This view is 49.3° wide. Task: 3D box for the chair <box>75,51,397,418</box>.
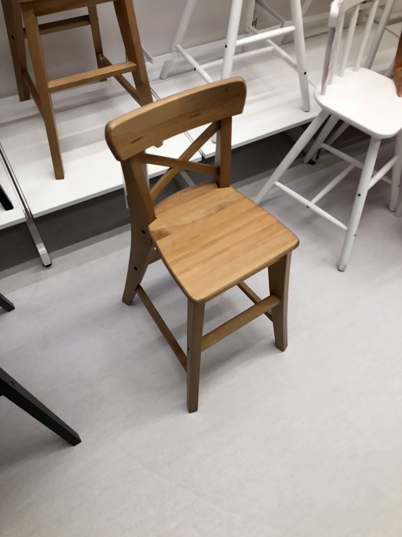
[{"bbox_3d":[0.035,-0.037,1.046,0.391,0.676,0.432,-27,60,-20],"label":"chair"}]
